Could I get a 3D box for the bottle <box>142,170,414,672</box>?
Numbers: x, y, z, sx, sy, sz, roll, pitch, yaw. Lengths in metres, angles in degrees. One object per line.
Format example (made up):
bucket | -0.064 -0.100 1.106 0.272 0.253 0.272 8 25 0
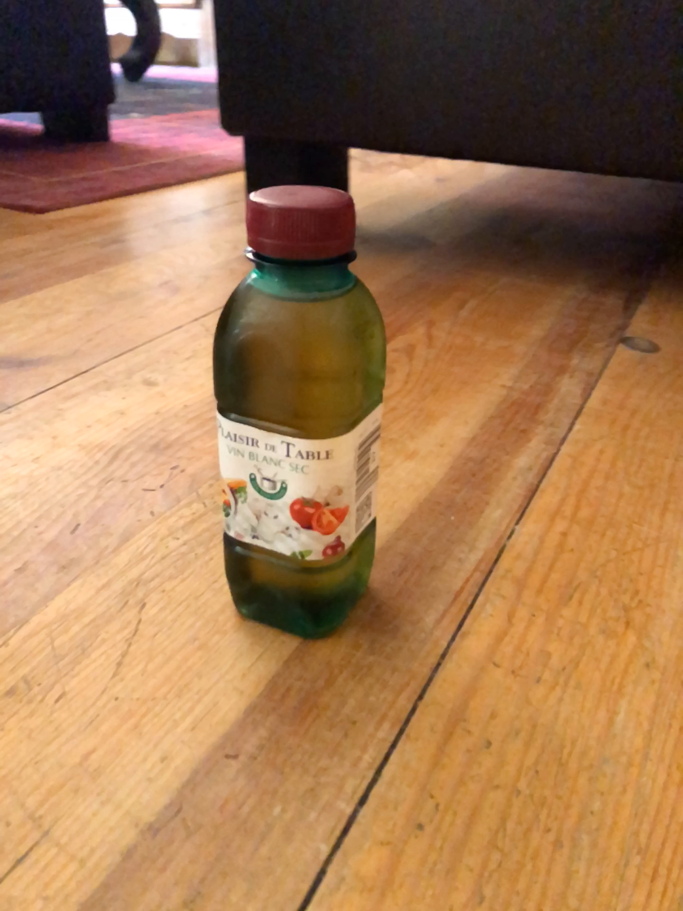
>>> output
bottle | -0.019 -0.009 0.250 0.060 0.149 0.050 15 32 22
